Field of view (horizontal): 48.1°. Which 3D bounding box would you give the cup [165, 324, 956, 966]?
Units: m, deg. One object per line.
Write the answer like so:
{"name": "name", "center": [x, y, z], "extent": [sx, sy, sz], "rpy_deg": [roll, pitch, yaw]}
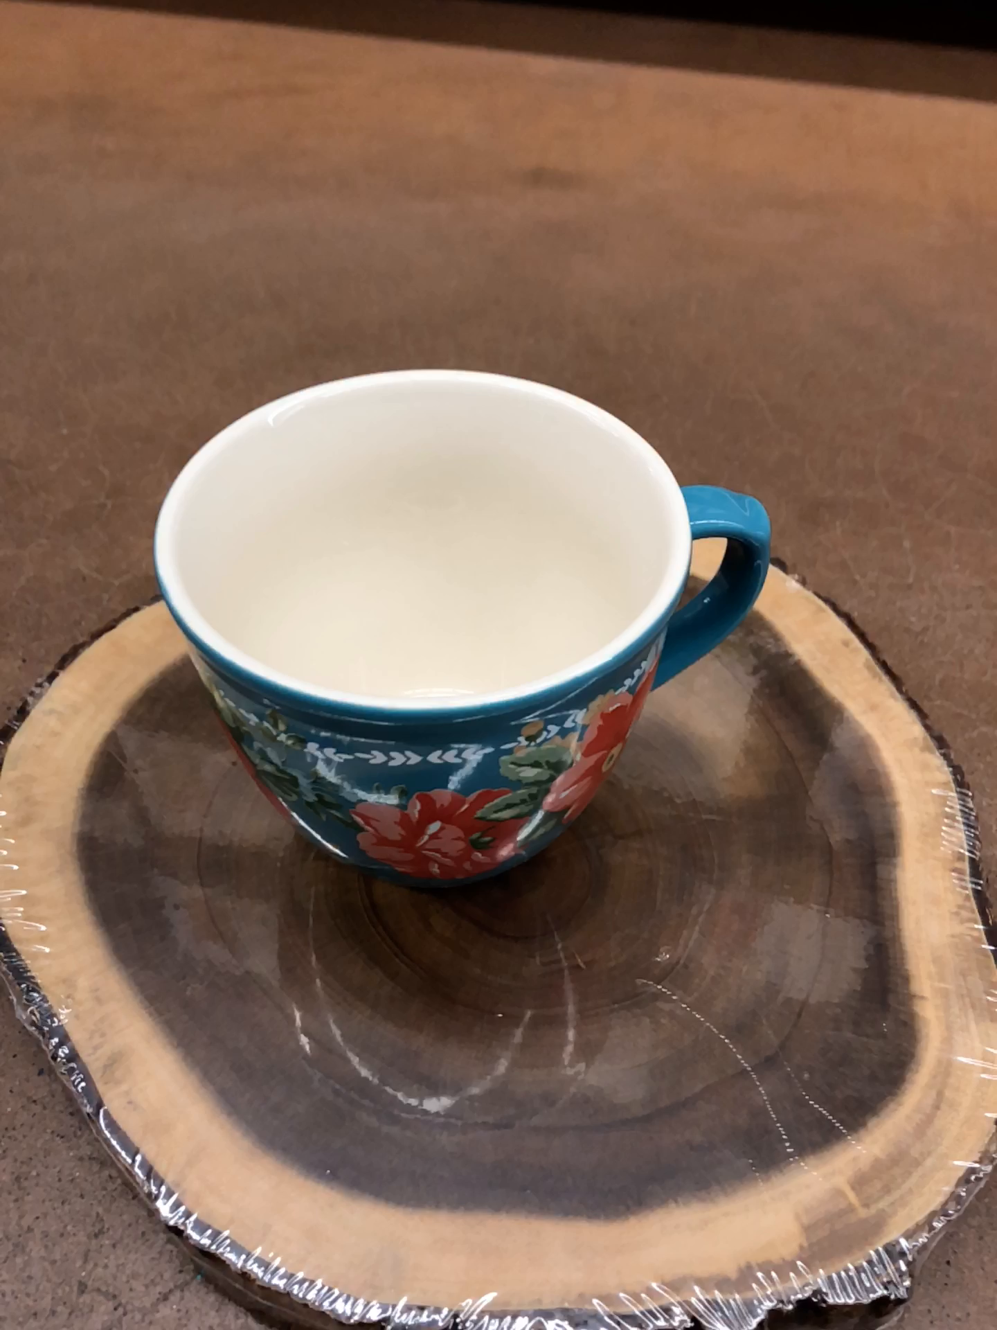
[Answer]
{"name": "cup", "center": [0.005, -0.008, 0.243], "extent": [0.130, 0.080, 0.100], "rpy_deg": [-6, 46, -6]}
